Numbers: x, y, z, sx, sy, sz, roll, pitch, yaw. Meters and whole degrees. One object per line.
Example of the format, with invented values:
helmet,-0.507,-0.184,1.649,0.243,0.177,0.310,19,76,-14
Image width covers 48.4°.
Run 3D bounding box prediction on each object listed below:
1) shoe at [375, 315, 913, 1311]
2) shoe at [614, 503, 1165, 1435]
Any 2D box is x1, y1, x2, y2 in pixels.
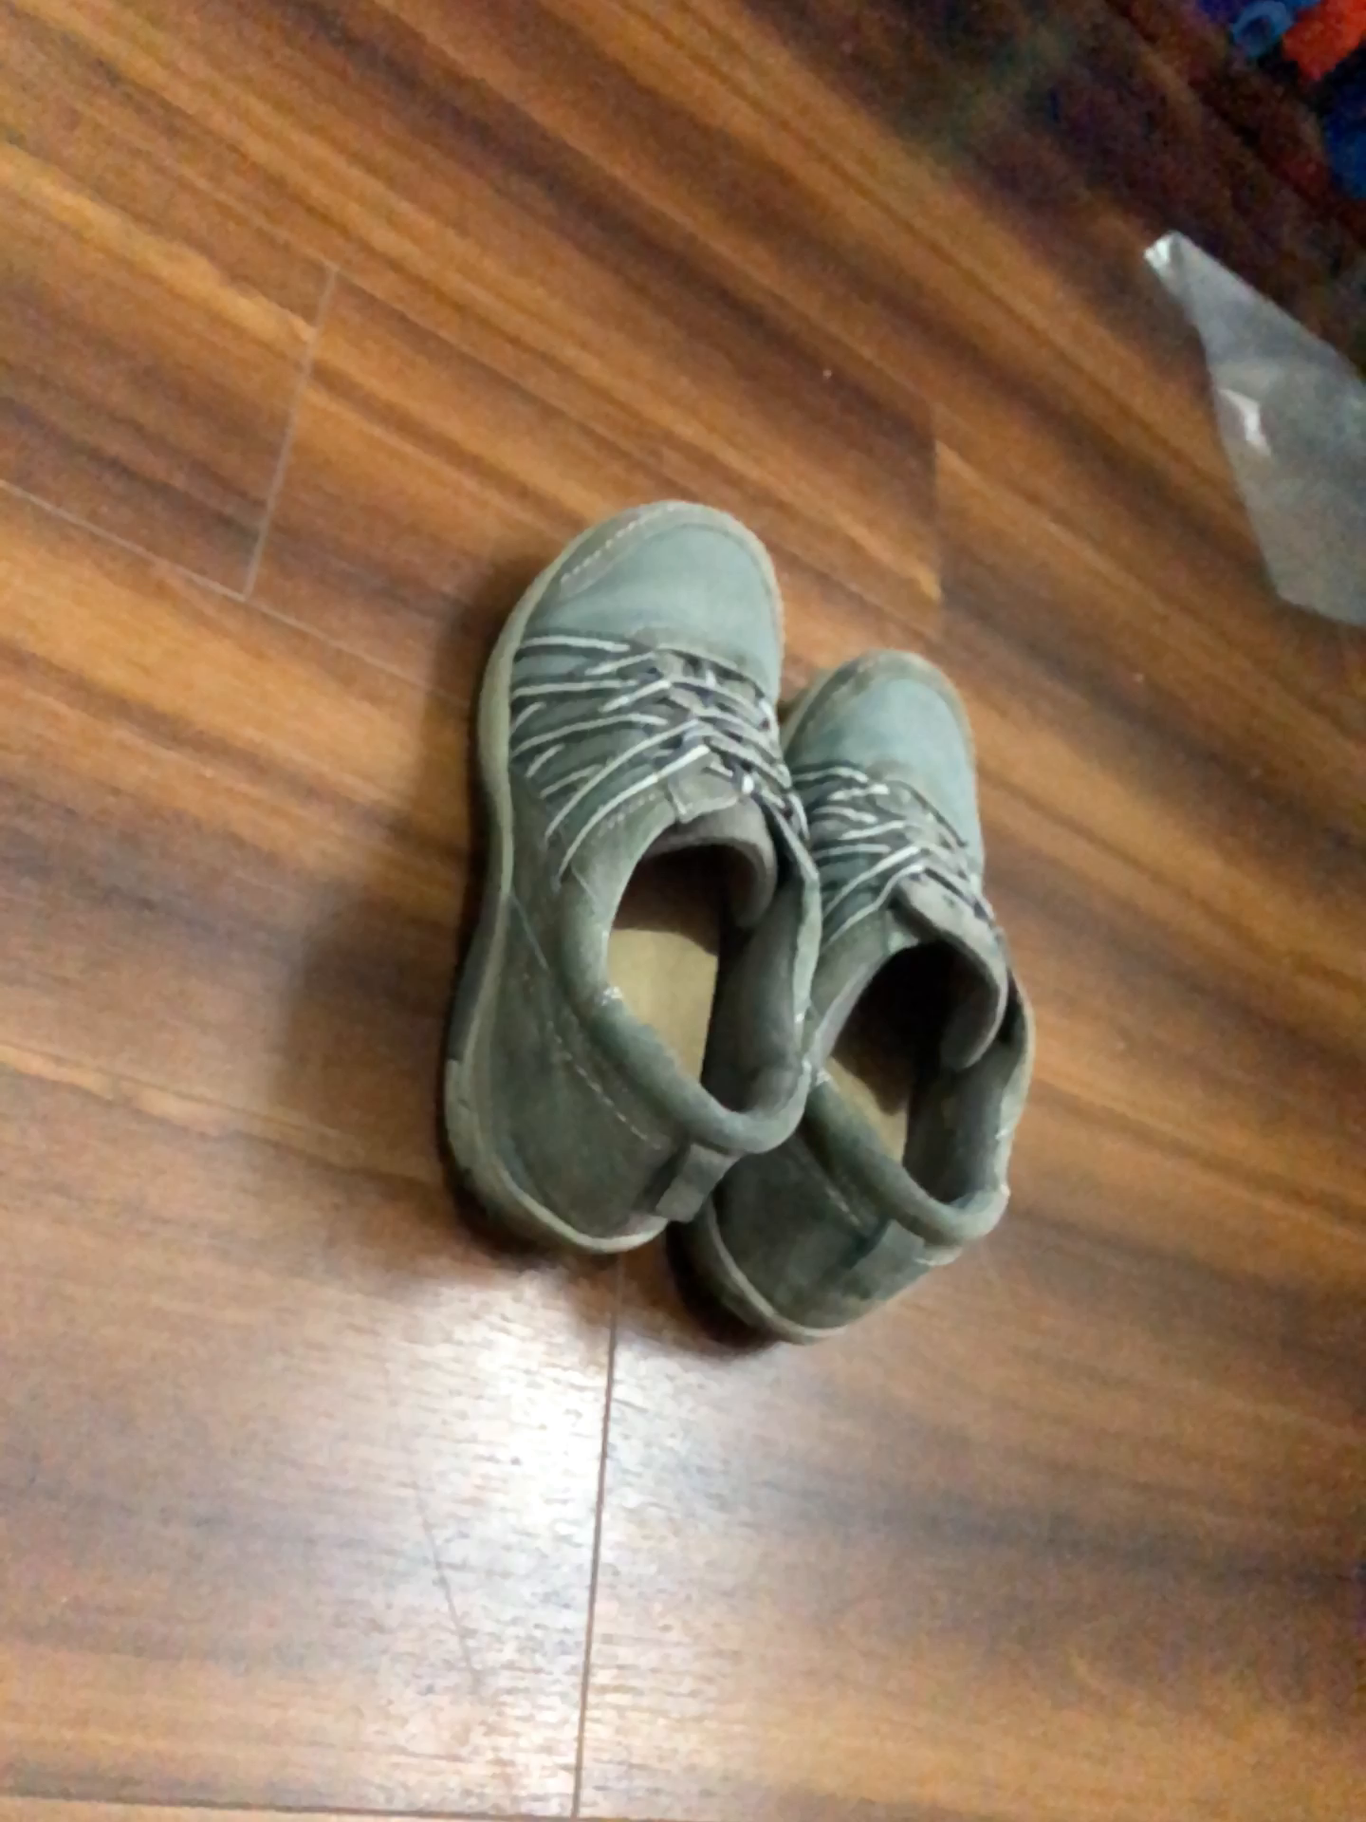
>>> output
shoe,-0.003,-0.034,0.482,0.100,0.109,0.281,24,54,-30
shoe,0.081,0.012,0.509,0.100,0.109,0.281,33,50,-24
